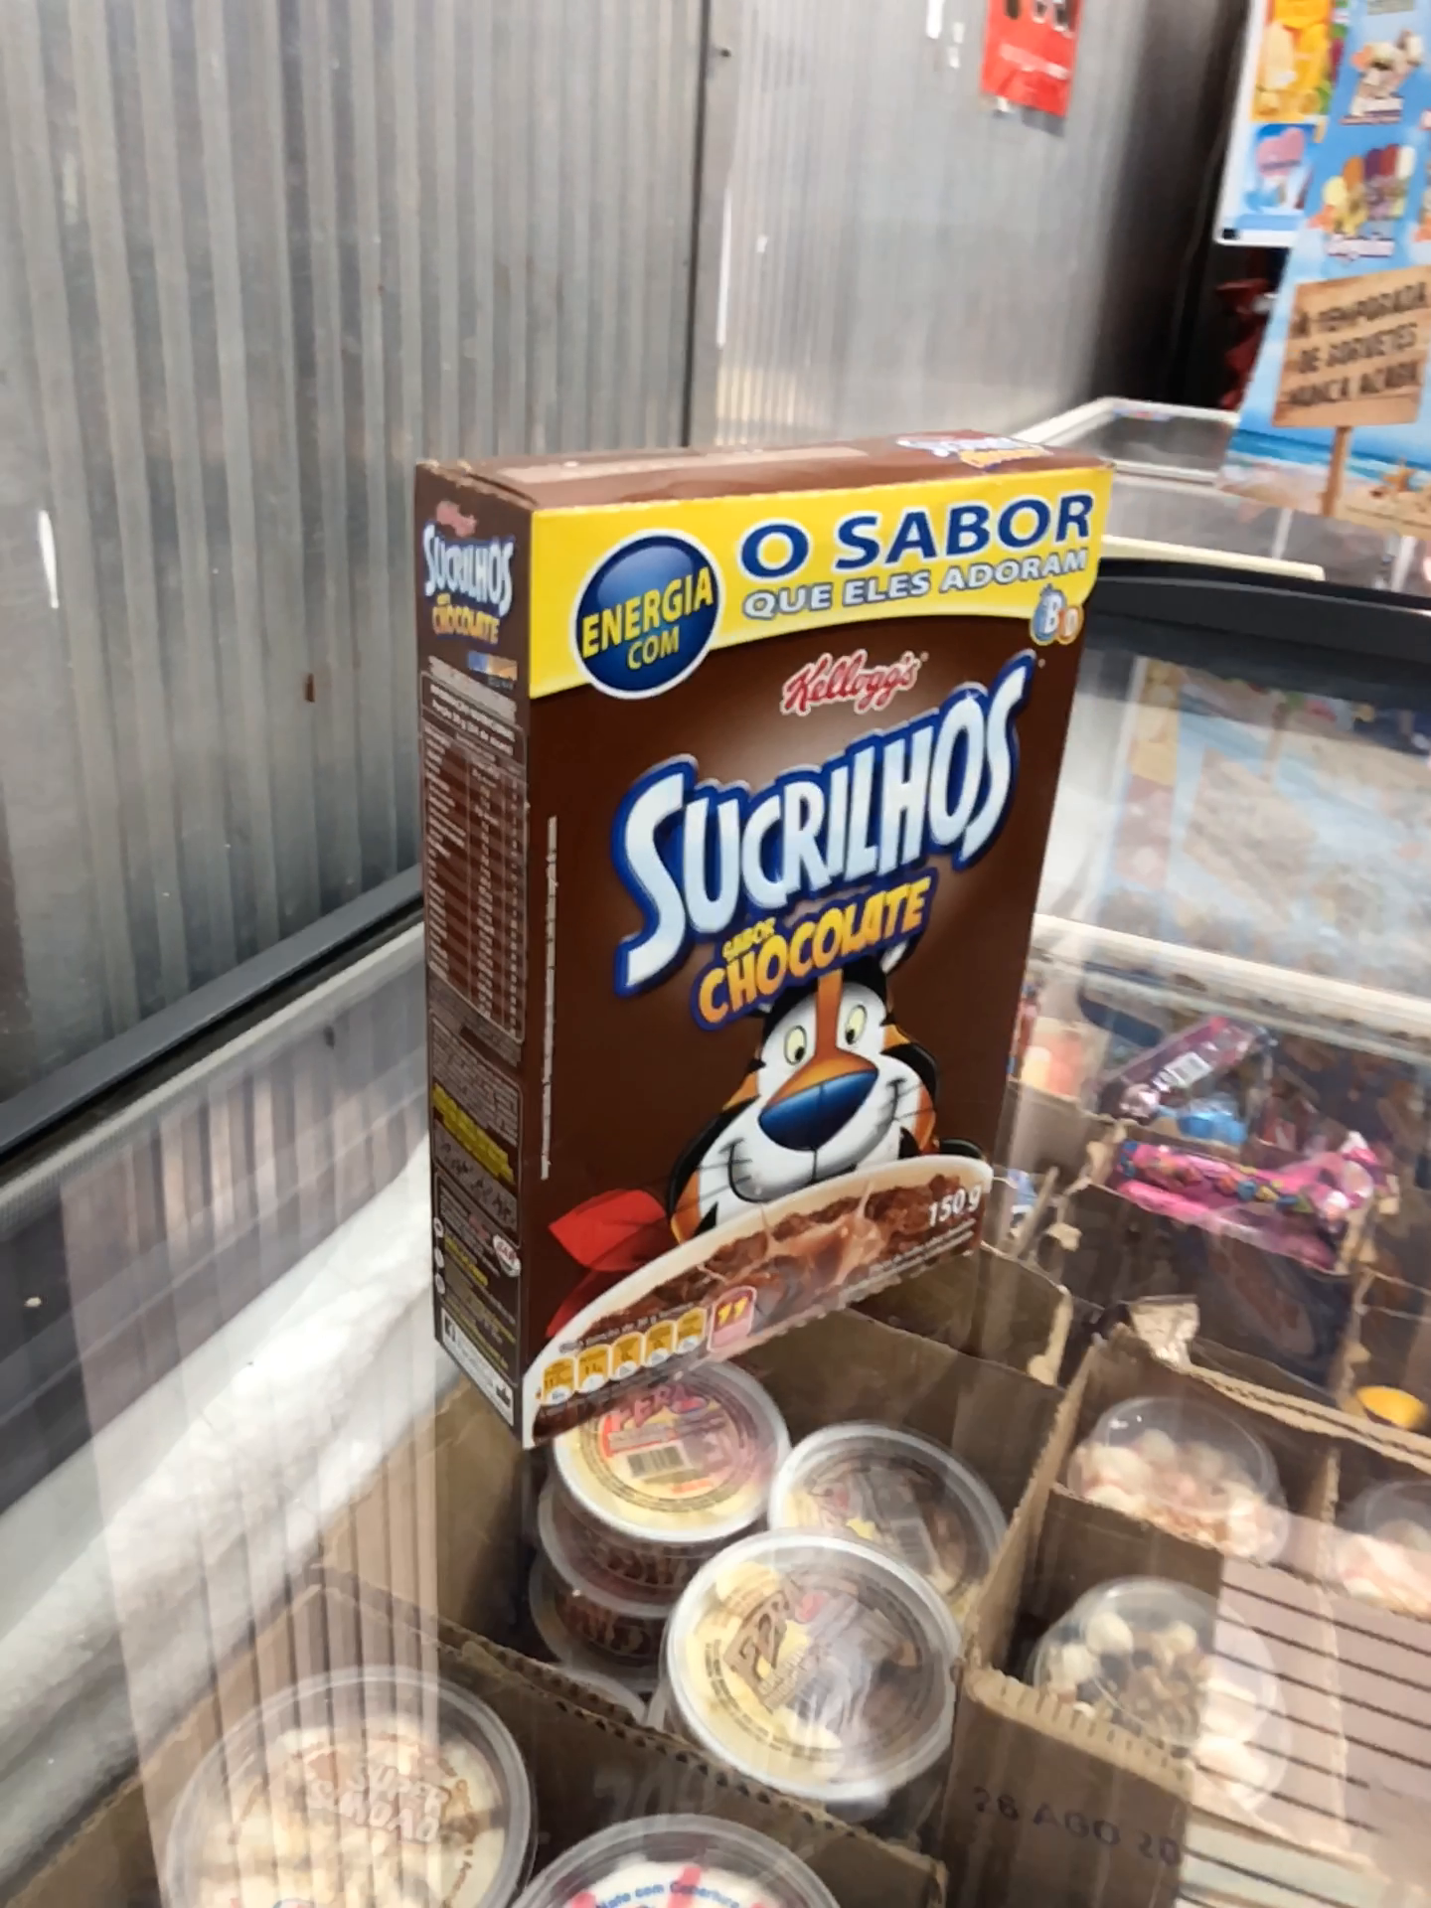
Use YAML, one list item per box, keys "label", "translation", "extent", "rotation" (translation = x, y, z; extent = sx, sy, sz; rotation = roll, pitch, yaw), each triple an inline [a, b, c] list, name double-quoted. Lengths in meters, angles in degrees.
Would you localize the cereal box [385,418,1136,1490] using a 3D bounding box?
- label: "cereal box"
  translation: [0.008, -0.005, 0.354]
  extent: [0.151, 0.209, 0.050]
  rotation: [-16, 32, -35]
